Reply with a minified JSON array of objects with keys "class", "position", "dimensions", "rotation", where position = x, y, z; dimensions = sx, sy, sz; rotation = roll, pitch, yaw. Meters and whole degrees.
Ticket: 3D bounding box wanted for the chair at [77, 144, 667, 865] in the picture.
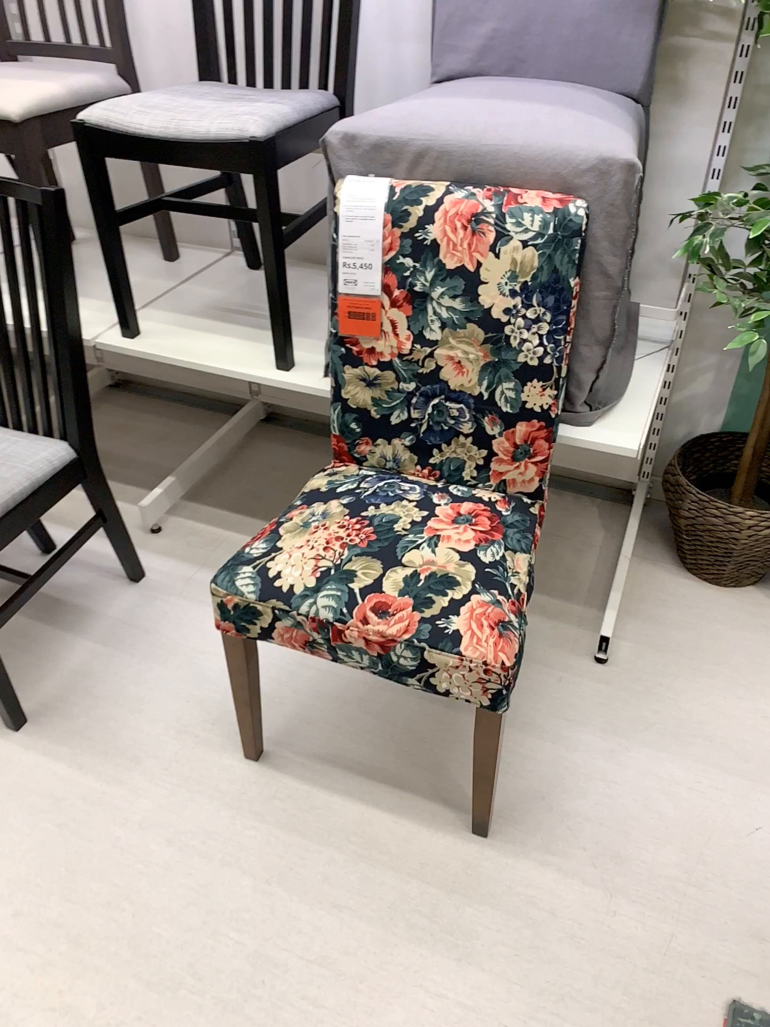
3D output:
[{"class":"chair","position":[0.036,-0.031,1.280],"dimensions":[0.561,0.886,0.602],"rotation":[15,40,19]}]
